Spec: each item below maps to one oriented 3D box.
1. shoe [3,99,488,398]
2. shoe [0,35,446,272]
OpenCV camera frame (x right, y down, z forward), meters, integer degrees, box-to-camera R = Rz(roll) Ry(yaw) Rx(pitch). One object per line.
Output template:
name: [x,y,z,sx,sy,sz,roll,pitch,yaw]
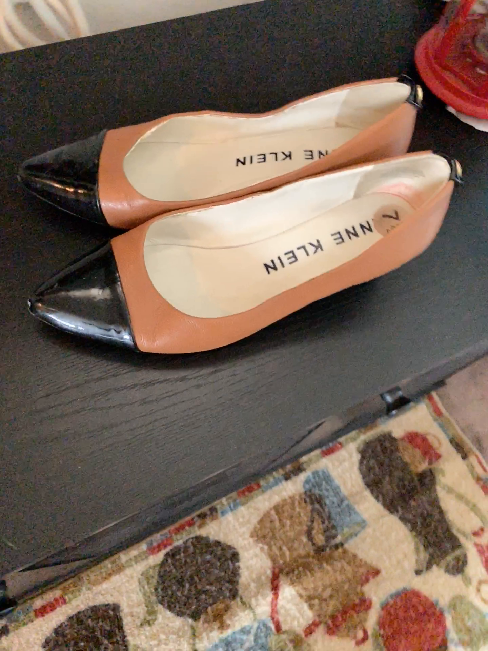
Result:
shoe: [-0.002,-0.041,0.316,0.260,0.080,0.090,-16,67,2]
shoe: [-0.016,-0.109,0.340,0.260,0.080,0.080,-8,68,3]
